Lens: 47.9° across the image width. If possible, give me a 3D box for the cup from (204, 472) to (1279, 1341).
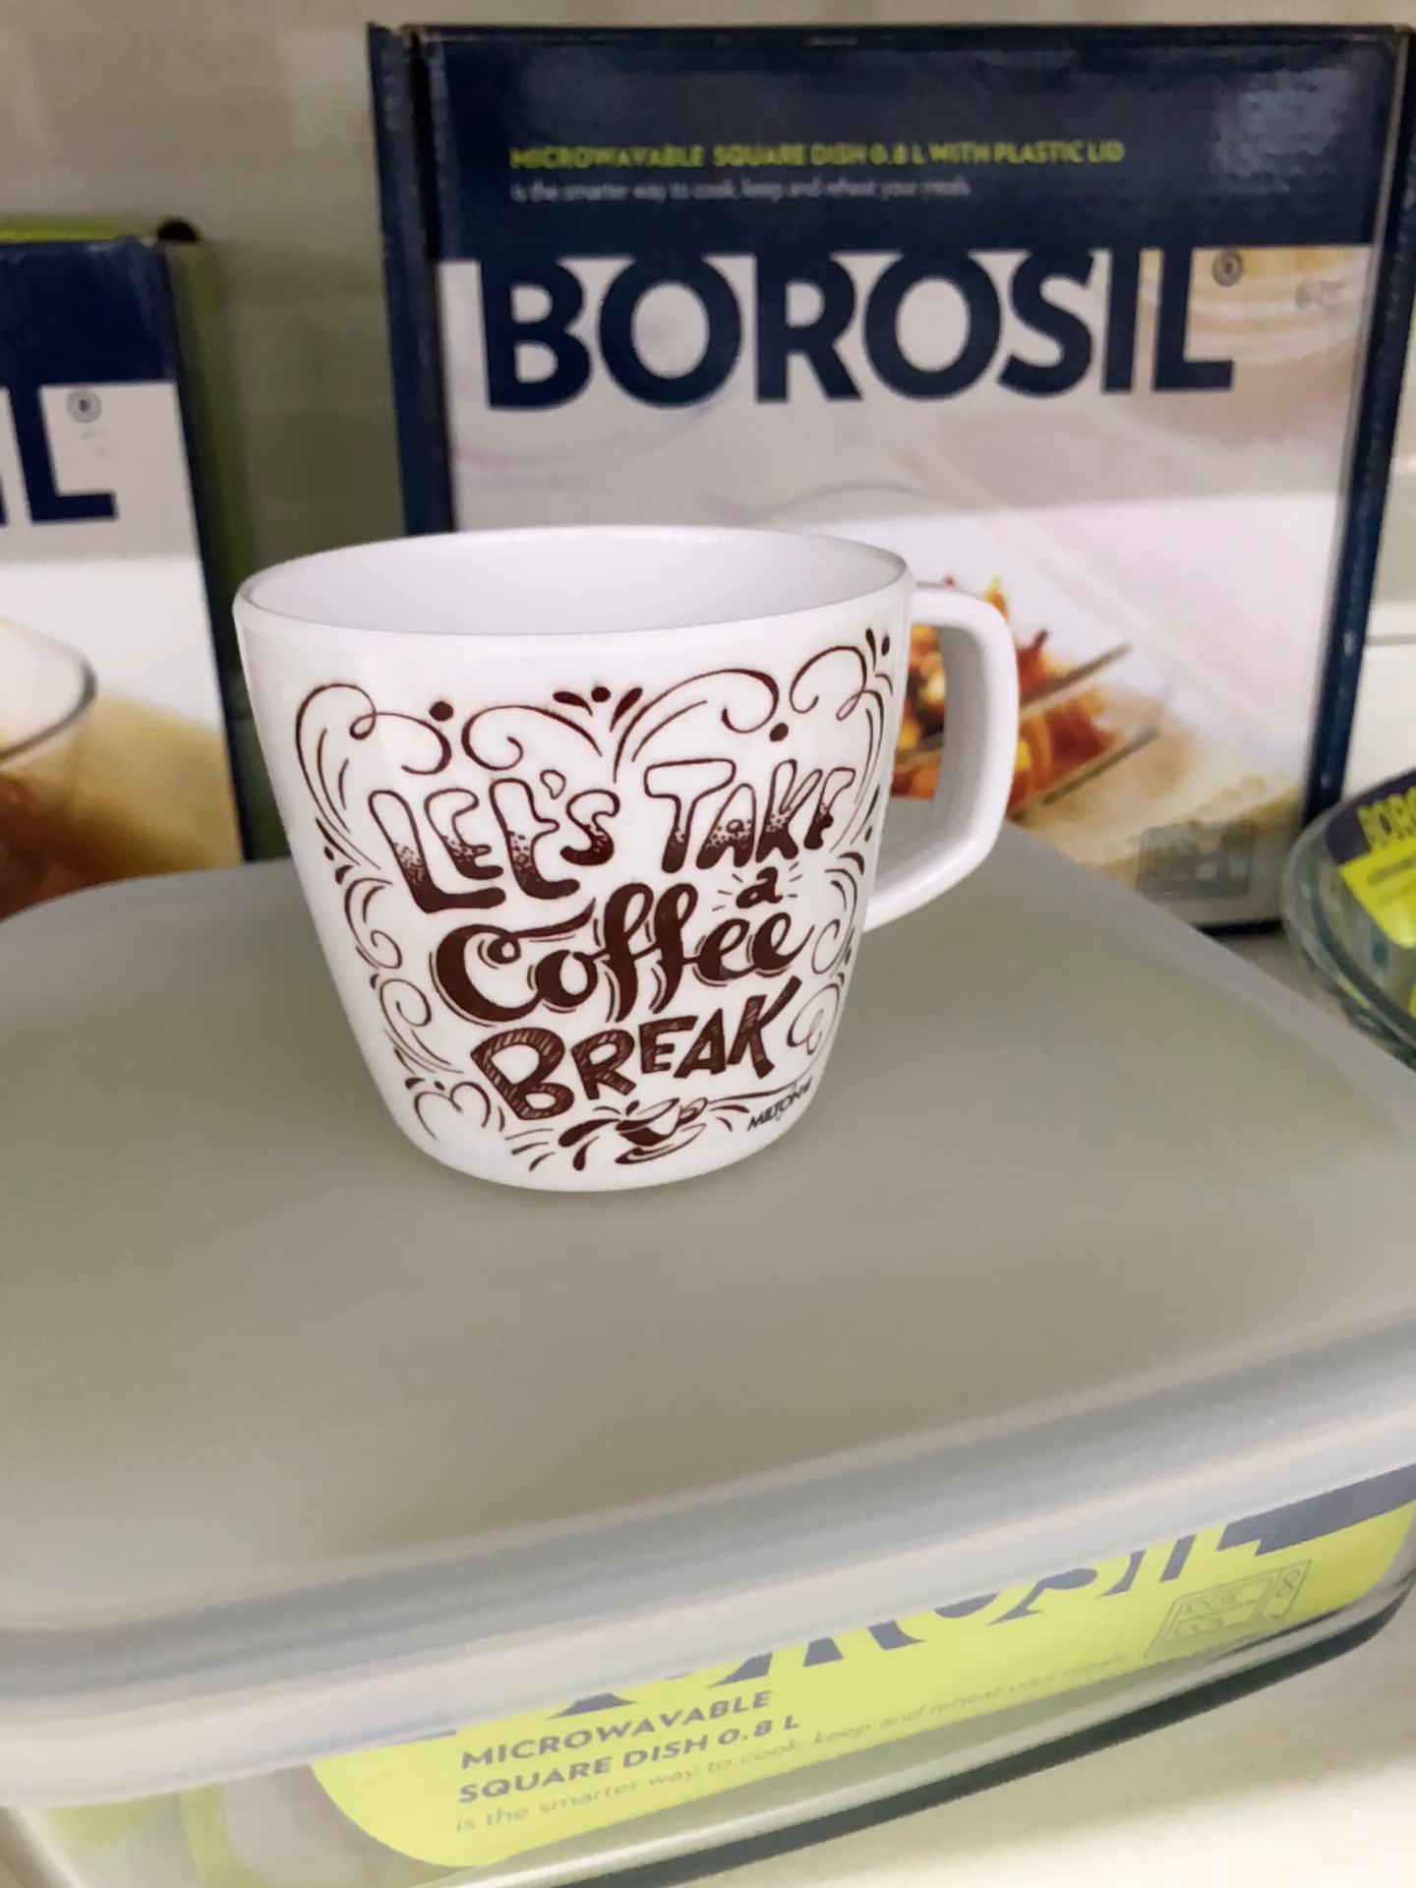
[{"bbox_3d":[0.001,-0.014,0.191,0.100,0.070,0.070,-10,24,-21],"label":"cup"}]
